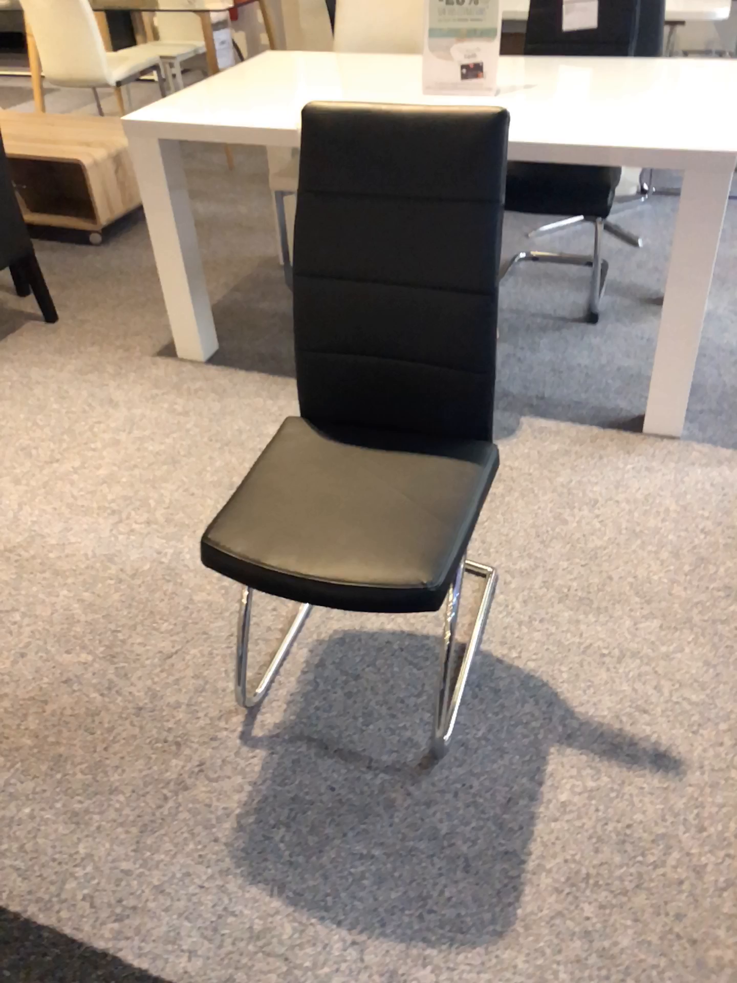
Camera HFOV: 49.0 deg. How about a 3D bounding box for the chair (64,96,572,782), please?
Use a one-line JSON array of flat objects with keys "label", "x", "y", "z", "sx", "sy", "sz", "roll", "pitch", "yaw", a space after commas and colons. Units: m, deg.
[{"label": "chair", "x": 0.005, "y": -0.084, "z": 1.327, "sx": 0.490, "sy": 0.905, "sz": 0.564, "roll": 9, "pitch": 40, "yaw": 16}]
